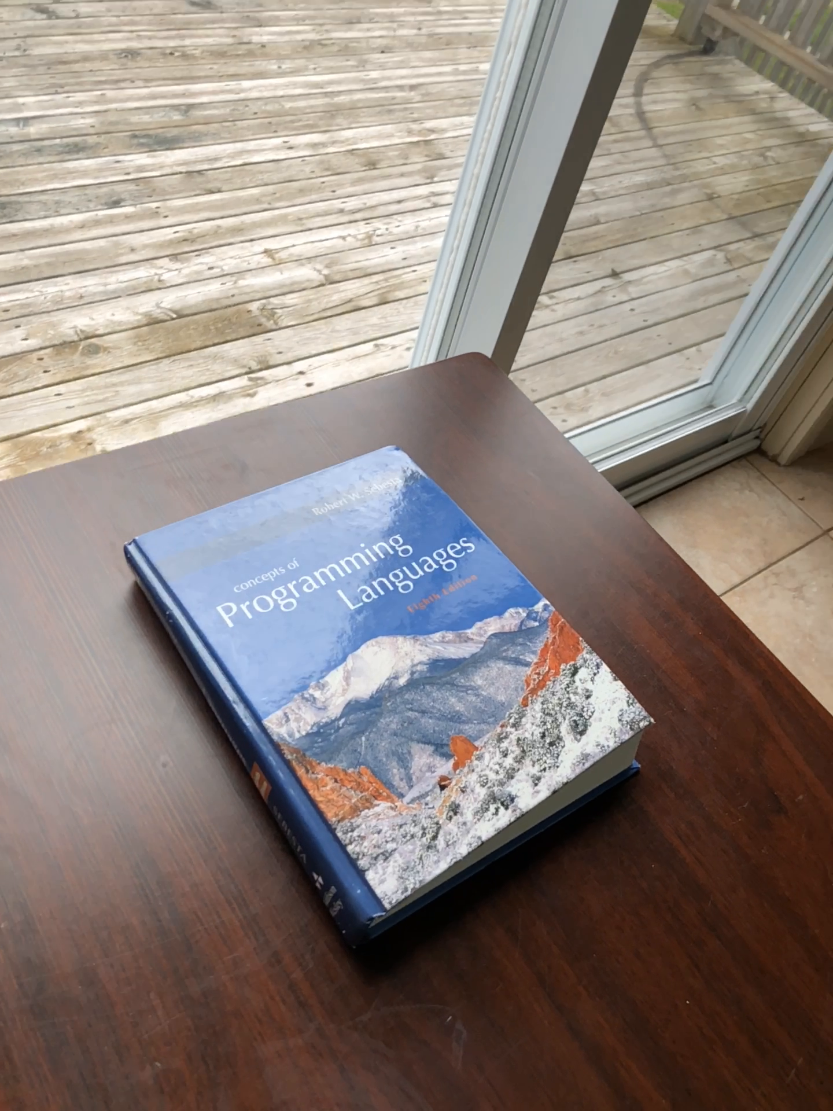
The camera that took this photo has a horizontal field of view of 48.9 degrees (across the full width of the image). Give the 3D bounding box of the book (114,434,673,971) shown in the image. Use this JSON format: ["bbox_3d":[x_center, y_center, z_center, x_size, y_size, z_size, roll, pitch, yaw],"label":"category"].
[{"bbox_3d":[-0.017,0.054,0.490,0.195,0.048,0.236,-22,60,-31],"label":"book"}]
